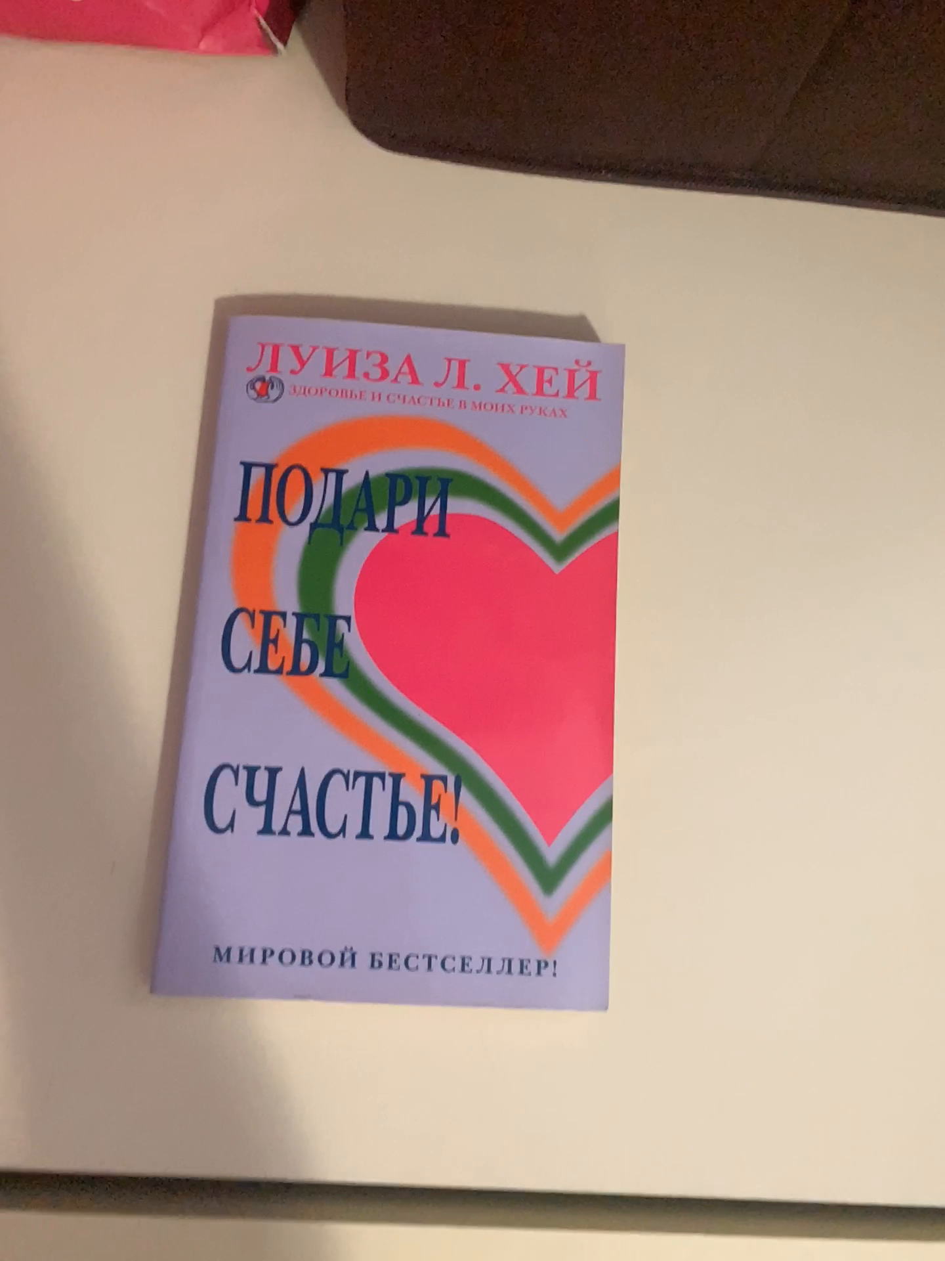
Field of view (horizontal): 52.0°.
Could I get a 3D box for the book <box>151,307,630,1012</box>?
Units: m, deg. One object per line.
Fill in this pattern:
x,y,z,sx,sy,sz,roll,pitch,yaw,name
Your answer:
-0.018,0.005,0.281,0.123,0.016,0.194,4,79,-4,book
